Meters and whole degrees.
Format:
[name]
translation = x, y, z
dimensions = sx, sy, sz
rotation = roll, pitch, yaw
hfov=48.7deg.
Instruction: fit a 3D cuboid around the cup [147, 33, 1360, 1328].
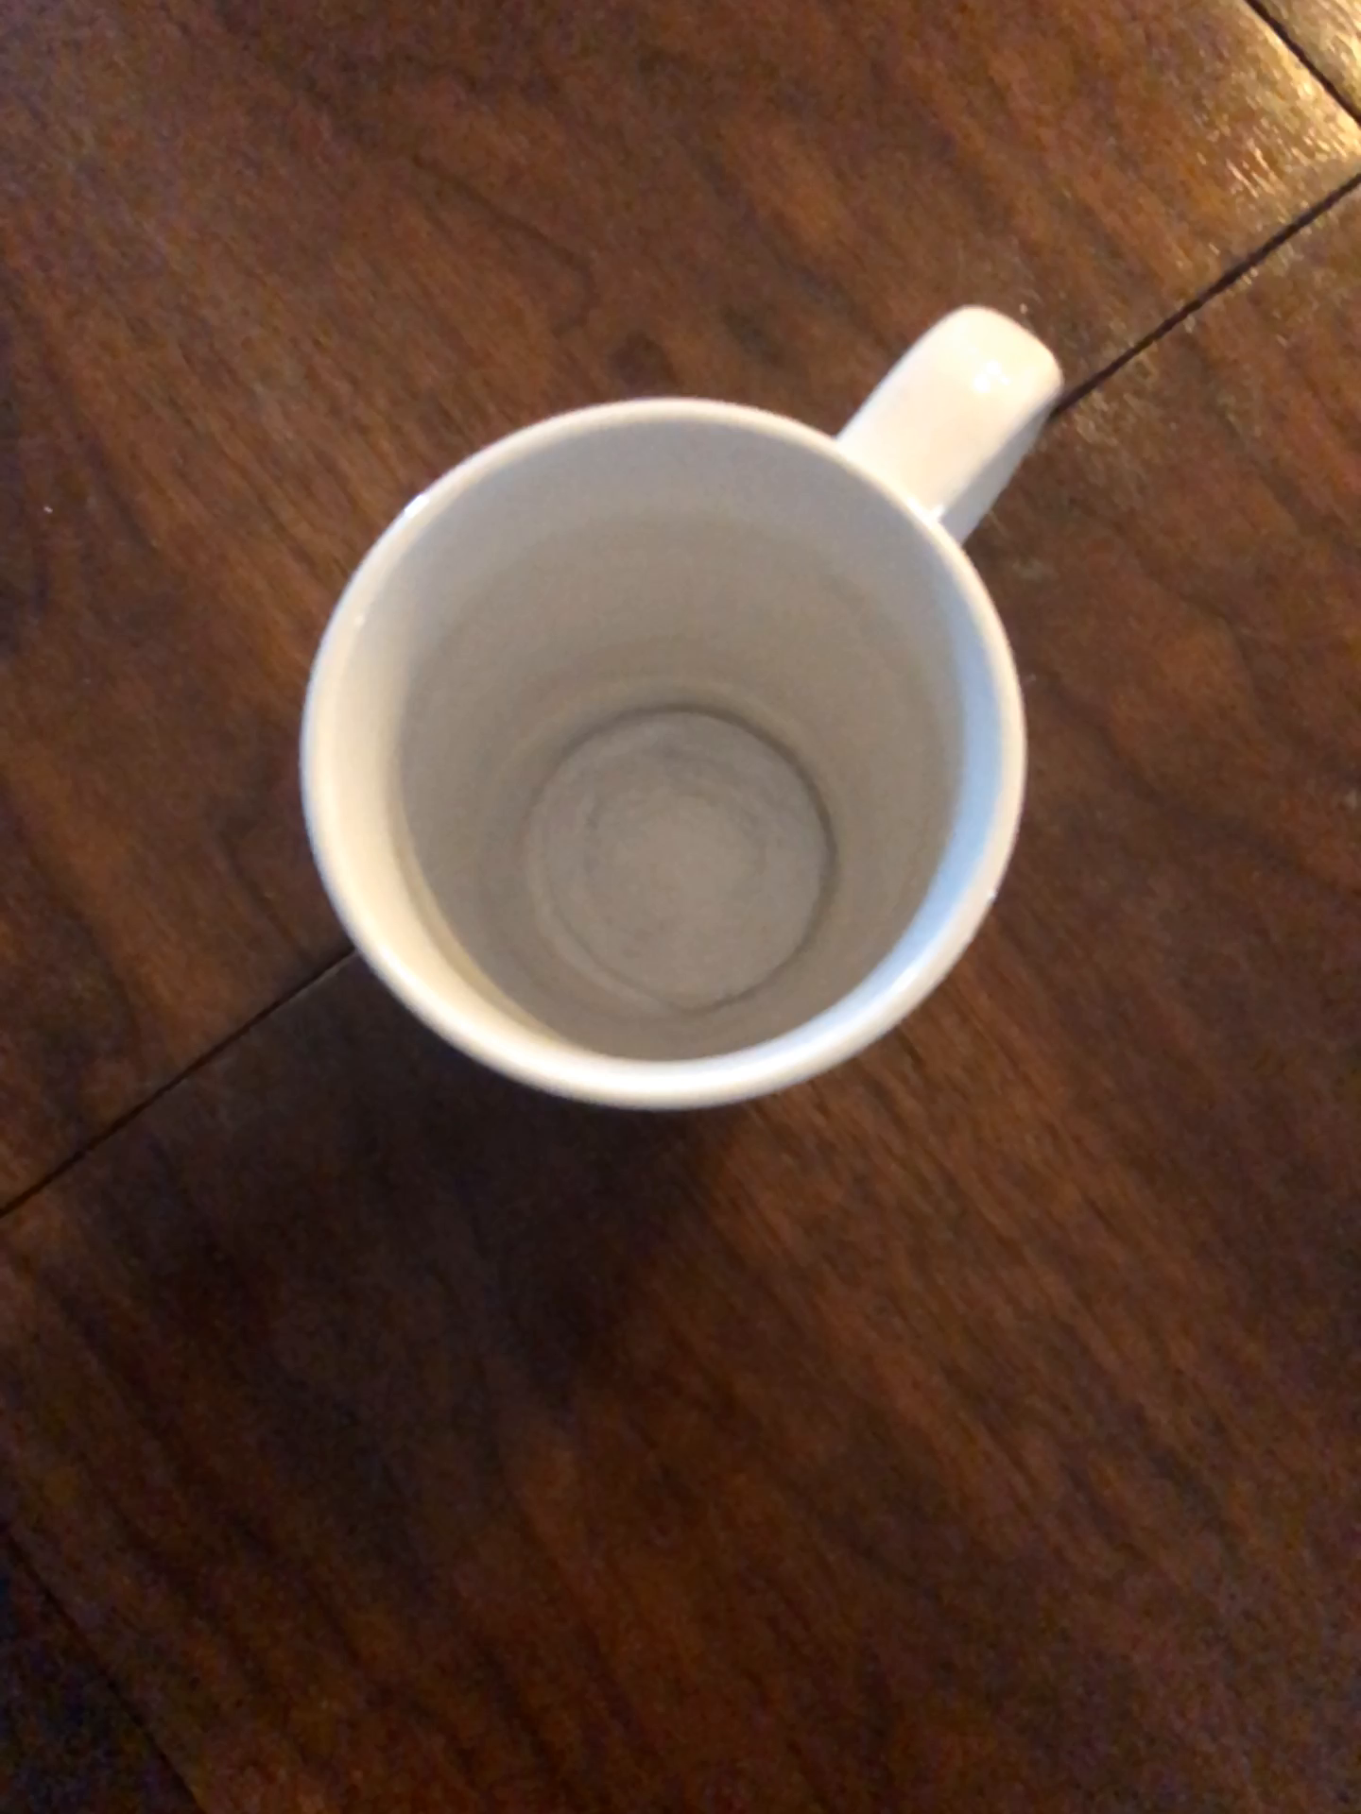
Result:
[cup]
translation = 0.015, -0.031, 0.280
dimensions = 0.110, 0.120, 0.160
rotation = 37, 85, 4
